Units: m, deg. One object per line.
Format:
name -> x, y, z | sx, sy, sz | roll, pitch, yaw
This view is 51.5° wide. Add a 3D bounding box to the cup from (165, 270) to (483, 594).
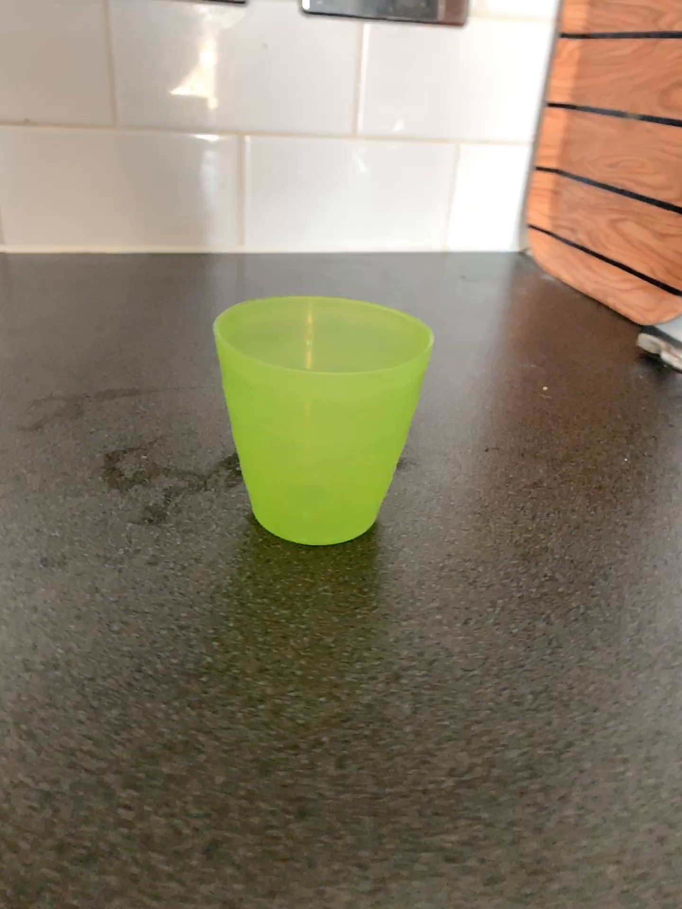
cup -> -0.008, -0.016, 0.280 | 0.078, 0.080, 0.090 | 28, 36, 32
